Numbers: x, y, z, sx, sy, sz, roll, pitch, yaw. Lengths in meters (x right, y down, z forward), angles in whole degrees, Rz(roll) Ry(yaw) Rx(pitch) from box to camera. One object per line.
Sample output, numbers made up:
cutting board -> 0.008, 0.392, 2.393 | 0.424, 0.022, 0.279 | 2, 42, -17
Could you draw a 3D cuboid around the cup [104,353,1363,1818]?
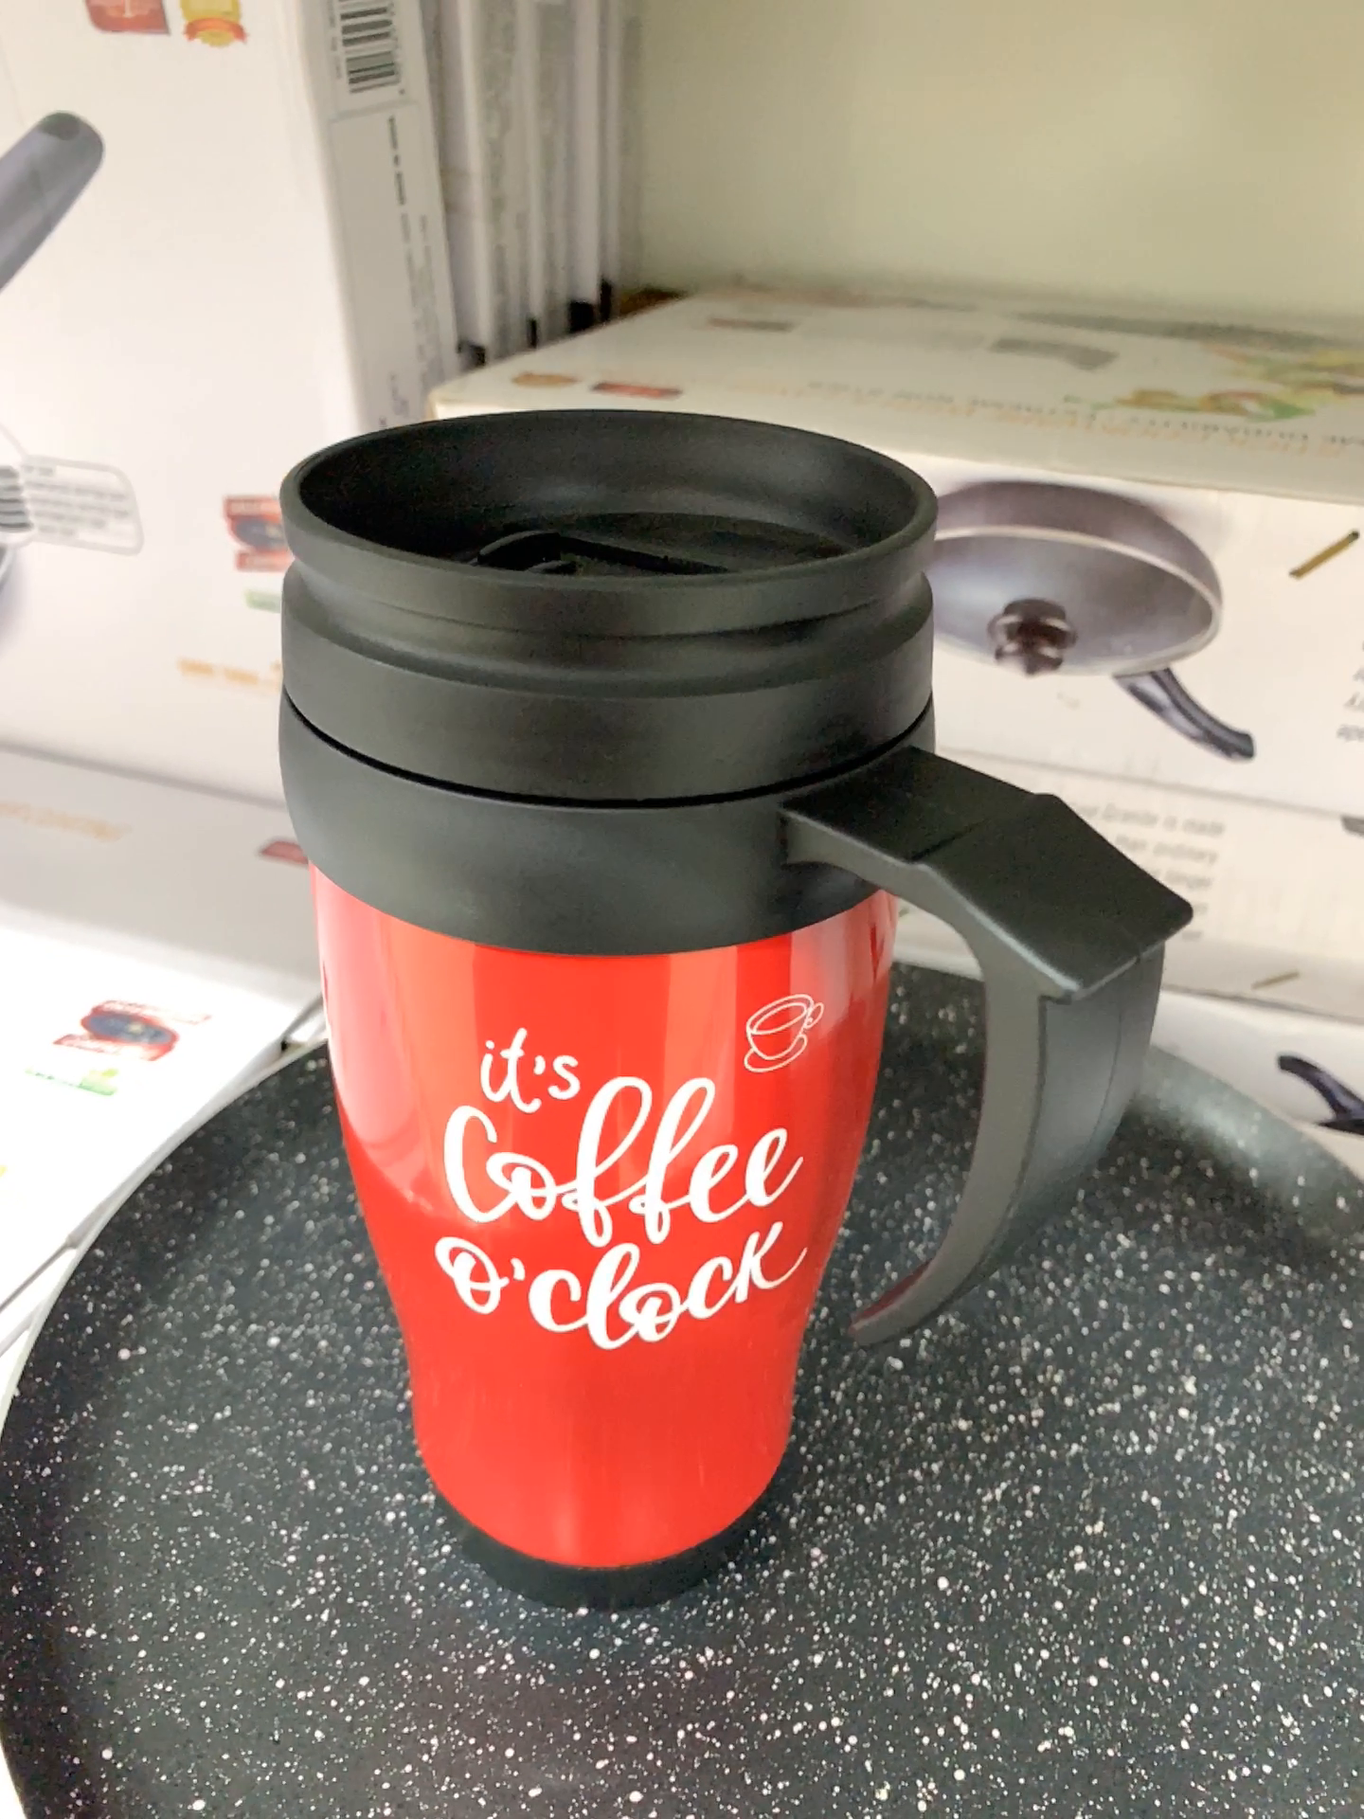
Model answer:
cup -> 0.008, 0.025, 0.198 | 0.120, 0.169, 0.090 | 24, 37, 33
